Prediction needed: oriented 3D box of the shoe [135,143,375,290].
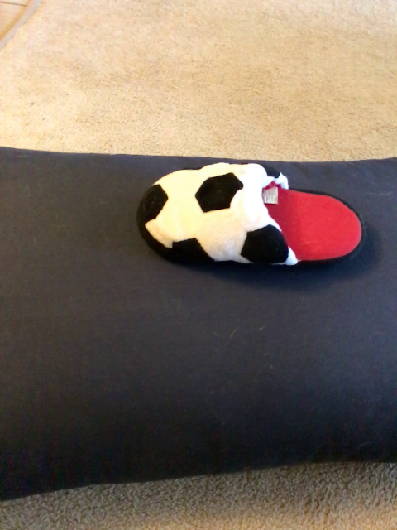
[{"bbox_3d":[0.053,-0.050,0.438,0.213,0.072,0.108,6,57,0],"label":"shoe"}]
